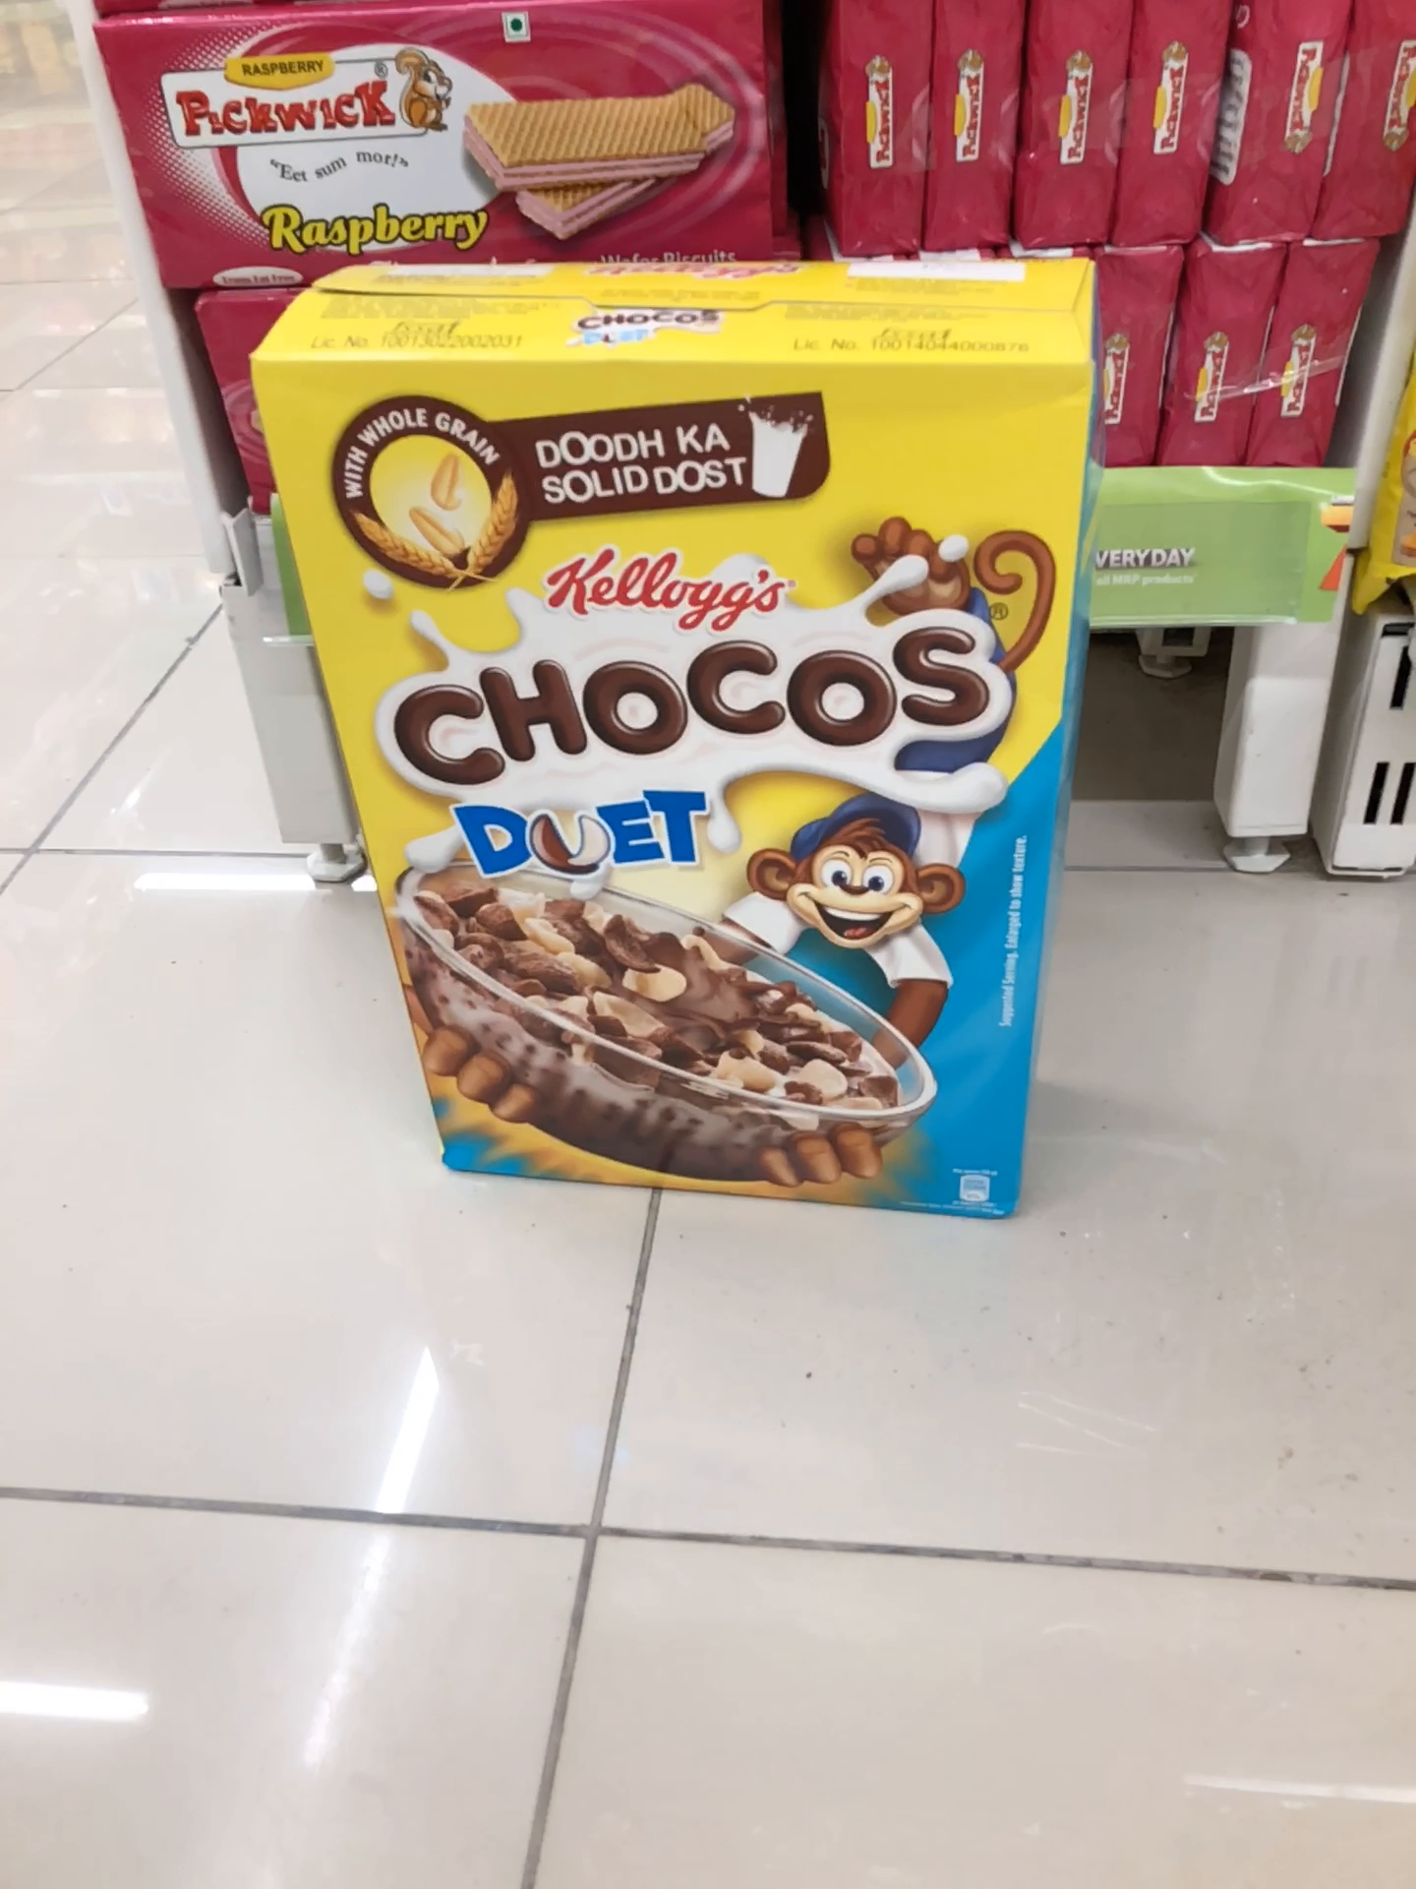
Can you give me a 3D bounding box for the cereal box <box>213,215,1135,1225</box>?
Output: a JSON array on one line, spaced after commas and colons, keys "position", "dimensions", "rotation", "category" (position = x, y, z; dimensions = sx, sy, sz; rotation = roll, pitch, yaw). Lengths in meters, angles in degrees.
[{"position": [0.002, -0.047, 0.419], "dimensions": [0.190, 0.258, 0.071], "rotation": [3, 38, 10], "category": "cereal box"}]
